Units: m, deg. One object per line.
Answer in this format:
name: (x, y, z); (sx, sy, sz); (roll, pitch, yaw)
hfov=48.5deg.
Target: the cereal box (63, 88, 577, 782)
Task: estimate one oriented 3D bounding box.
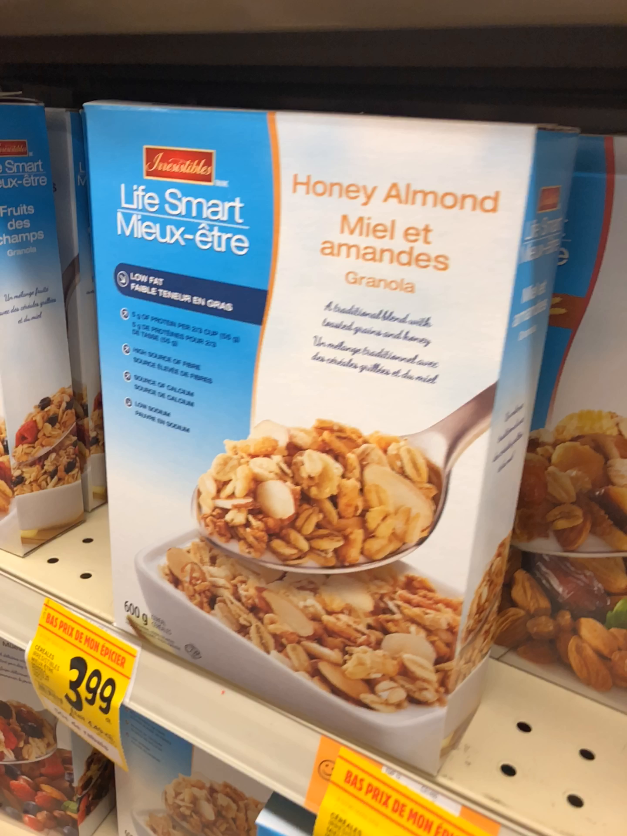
cereal box: (-0.009, 0.000, 0.285); (0.170, 0.238, 0.060); (15, 25, 27)
